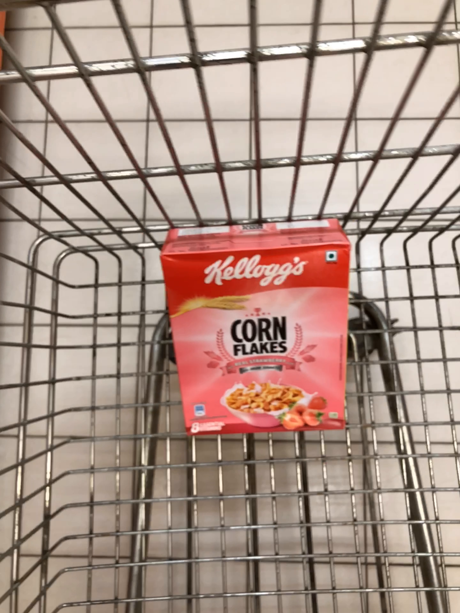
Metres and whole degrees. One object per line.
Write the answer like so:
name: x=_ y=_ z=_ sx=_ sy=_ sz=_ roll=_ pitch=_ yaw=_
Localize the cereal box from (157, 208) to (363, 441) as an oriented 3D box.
cereal box: x=0.026 y=0.020 z=0.414 sx=0.140 sy=0.050 sz=0.180 roll=-3 pitch=118 yaw=2
